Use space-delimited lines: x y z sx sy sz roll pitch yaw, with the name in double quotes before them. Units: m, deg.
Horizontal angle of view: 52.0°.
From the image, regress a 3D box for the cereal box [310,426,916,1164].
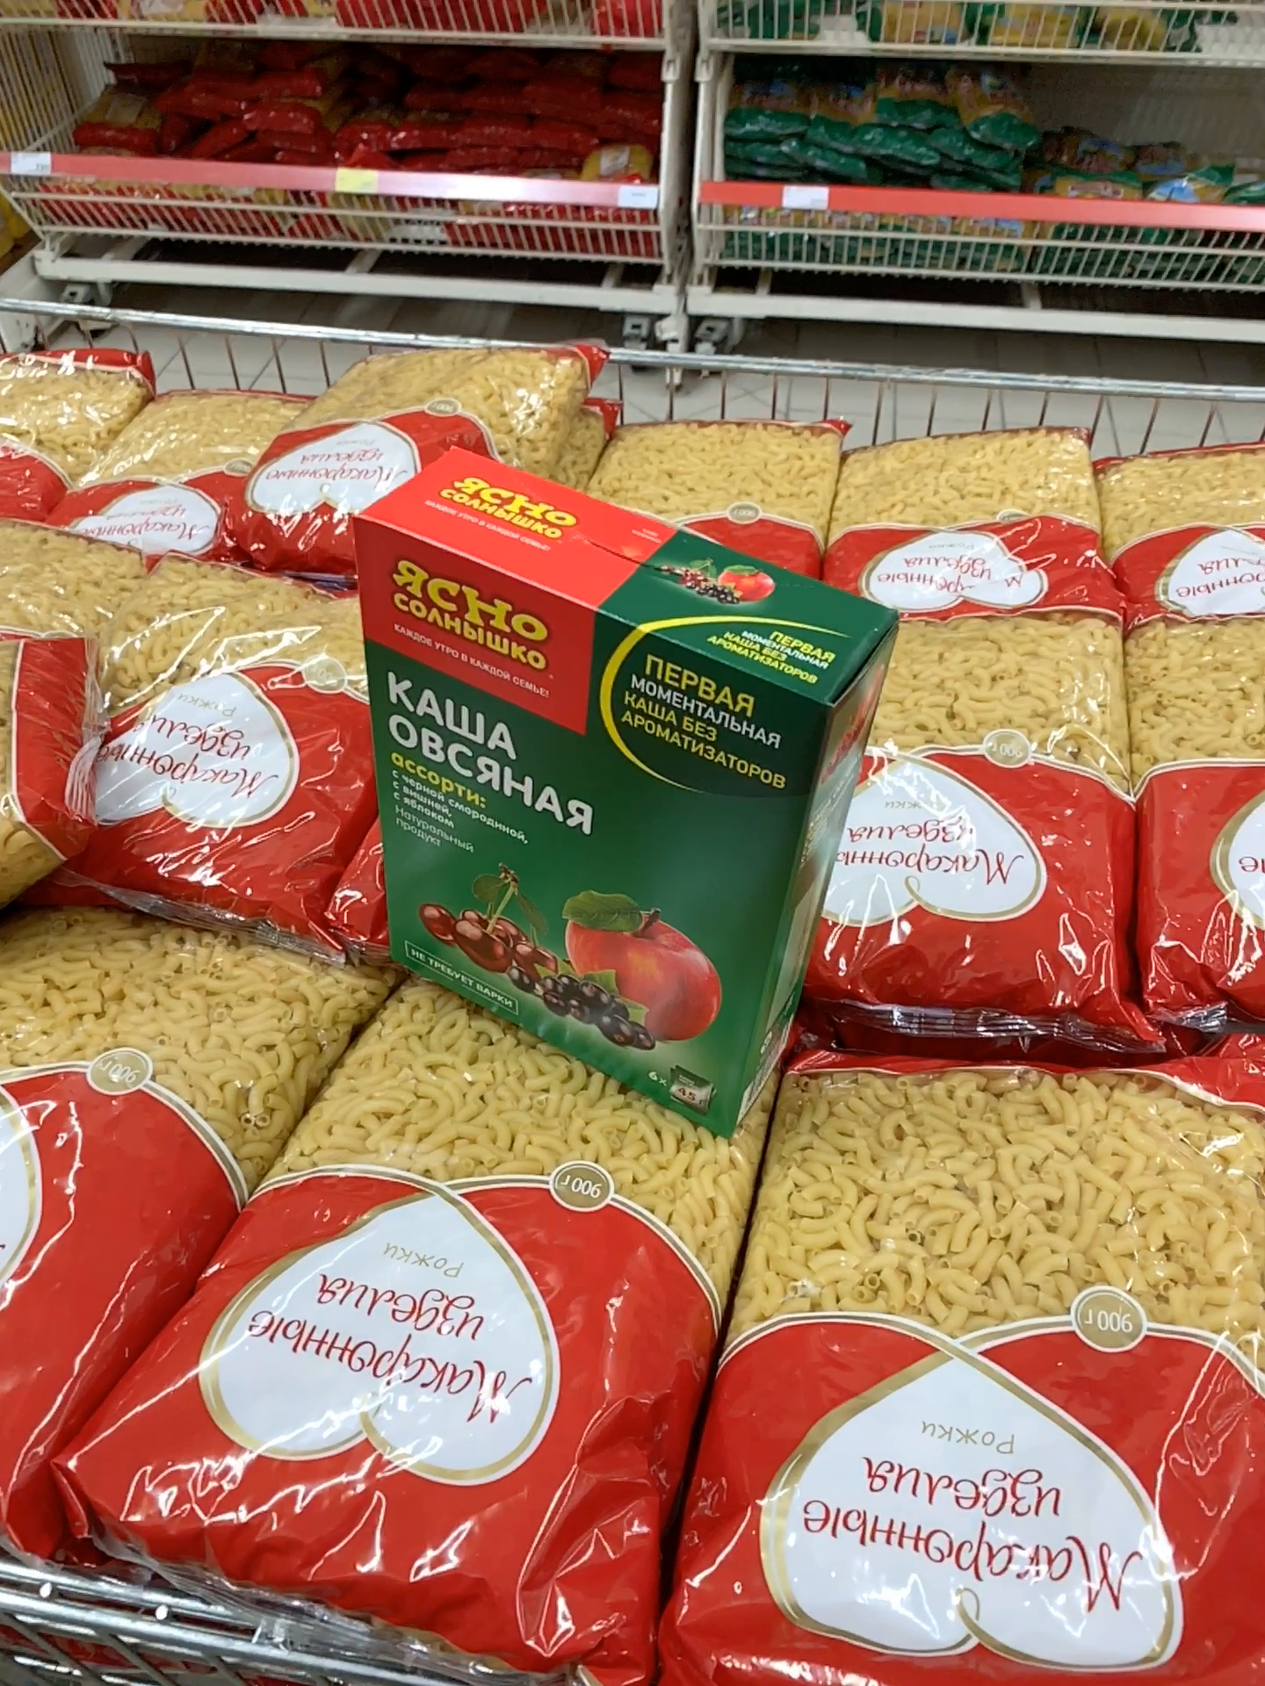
"cereal box" -0.015 -0.009 0.427 0.160 0.198 0.060 25 47 18
